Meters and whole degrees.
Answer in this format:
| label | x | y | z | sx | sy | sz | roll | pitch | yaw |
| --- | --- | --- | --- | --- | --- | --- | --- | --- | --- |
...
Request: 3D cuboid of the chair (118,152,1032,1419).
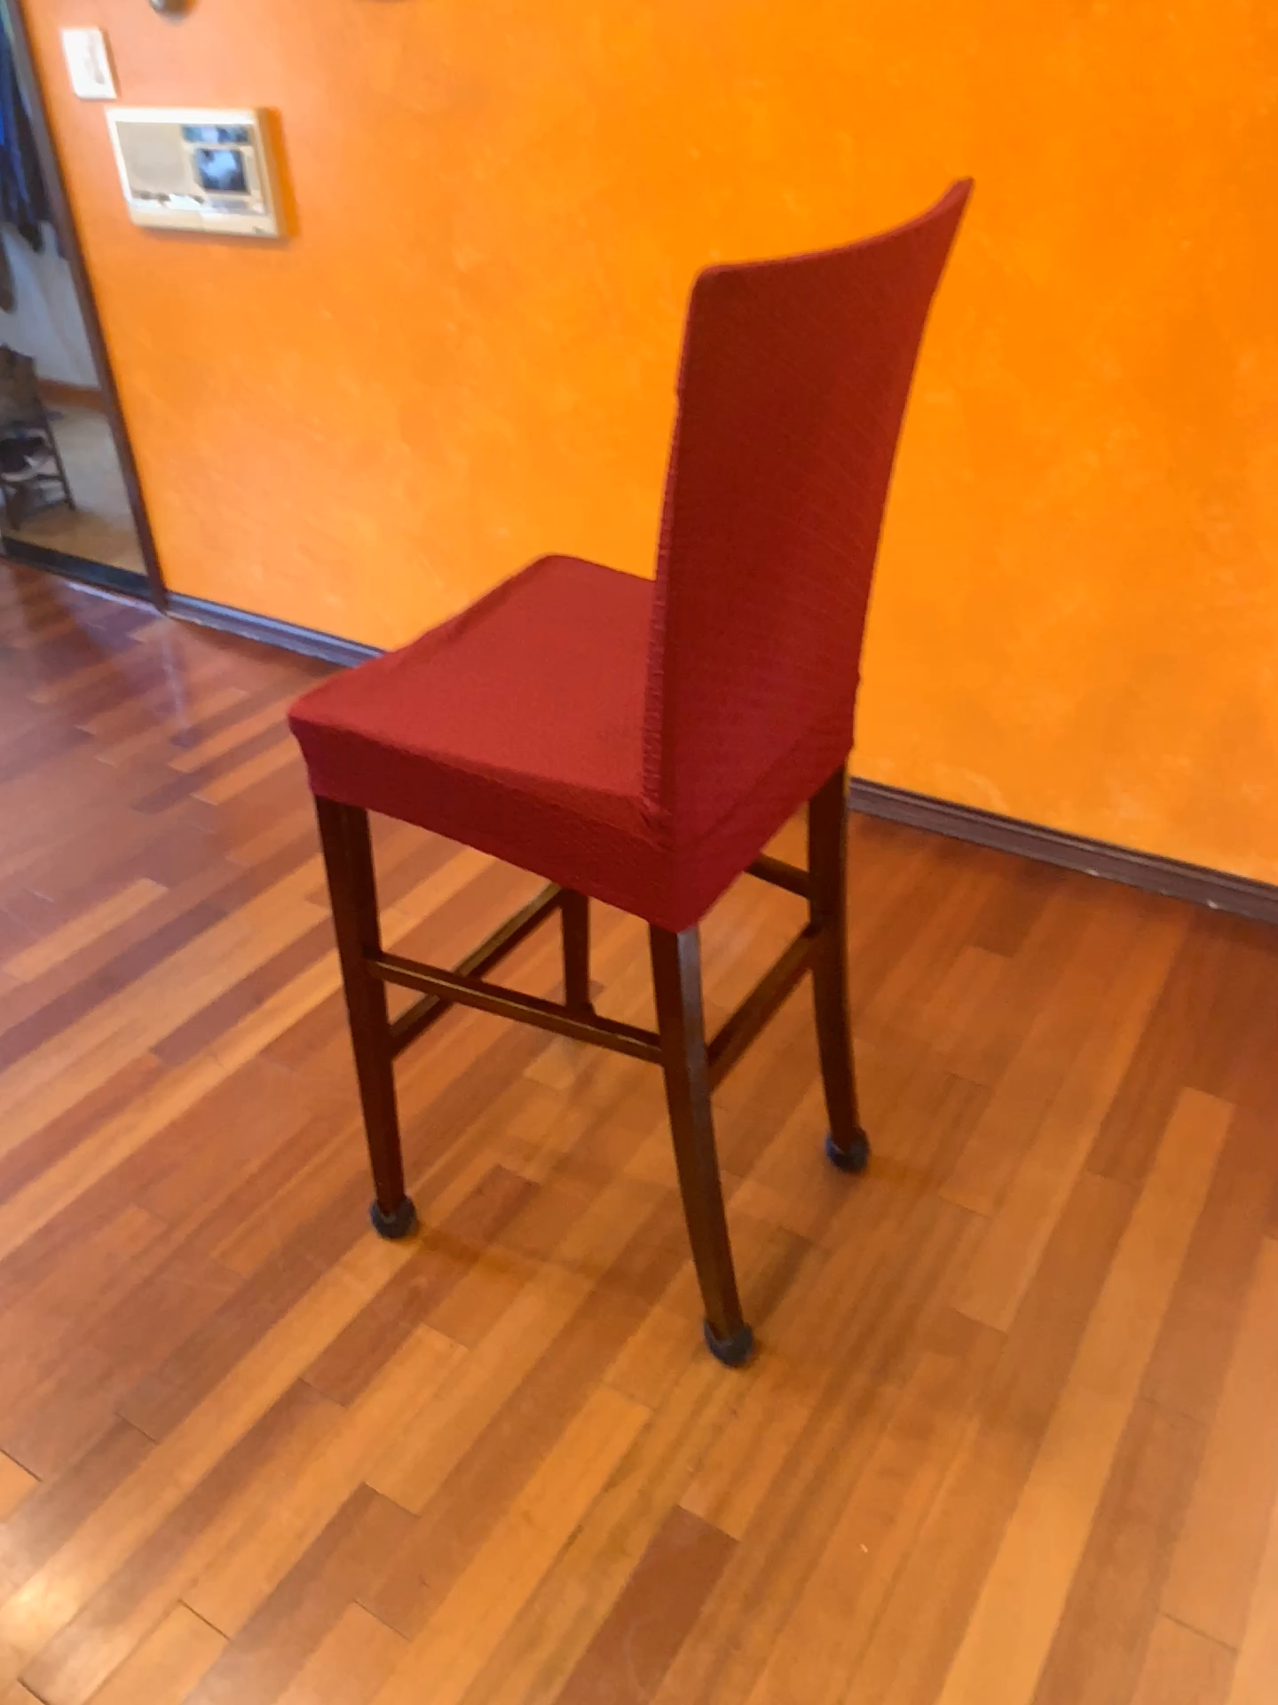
| label | x | y | z | sx | sy | sz | roll | pitch | yaw |
| --- | --- | --- | --- | --- | --- | --- | --- | --- | --- |
| chair | -0.021 | -0.066 | 1.275 | 0.512 | 1.026 | 0.465 | 18 | 38 | 27 |
